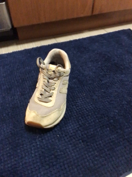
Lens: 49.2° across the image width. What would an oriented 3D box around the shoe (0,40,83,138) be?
[{"bbox_3d":[-0.045,-0.022,0.432,0.130,0.099,0.282,12,47,10],"label":"shoe"}]
